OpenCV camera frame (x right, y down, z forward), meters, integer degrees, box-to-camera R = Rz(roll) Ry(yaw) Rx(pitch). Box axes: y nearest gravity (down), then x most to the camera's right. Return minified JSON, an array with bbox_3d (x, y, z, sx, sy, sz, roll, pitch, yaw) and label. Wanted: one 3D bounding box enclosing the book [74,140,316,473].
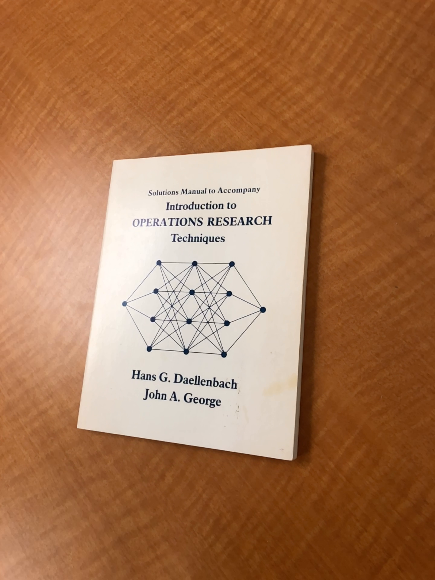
[{"bbox_3d":[-0.018,0.004,0.393,0.180,0.020,0.250,1,79,19],"label":"book"}]
